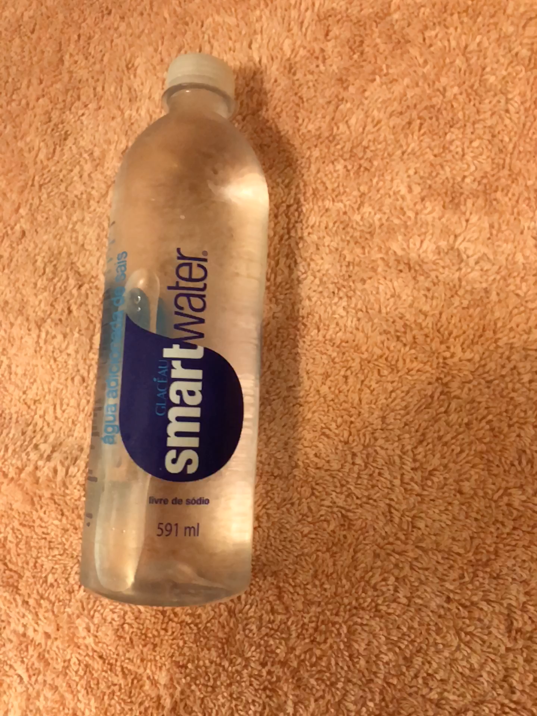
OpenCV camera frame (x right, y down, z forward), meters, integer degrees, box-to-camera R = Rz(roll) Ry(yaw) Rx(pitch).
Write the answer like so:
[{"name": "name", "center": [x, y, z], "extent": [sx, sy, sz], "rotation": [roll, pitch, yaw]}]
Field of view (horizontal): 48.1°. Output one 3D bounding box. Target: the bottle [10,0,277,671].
[{"name": "bottle", "center": [-0.043, -0.015, 0.231], "extent": [0.080, 0.050, 0.230], "rotation": [-1, 84, 17]}]
